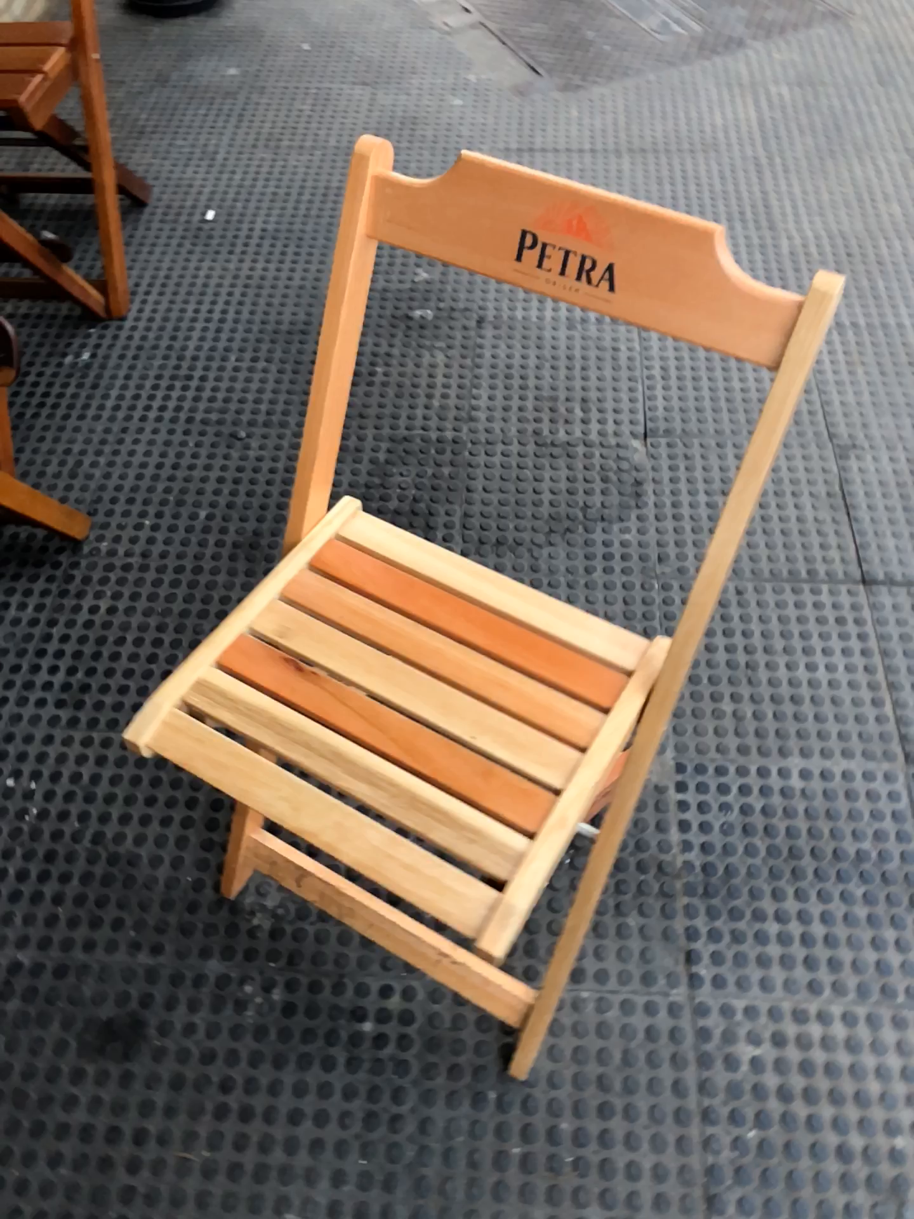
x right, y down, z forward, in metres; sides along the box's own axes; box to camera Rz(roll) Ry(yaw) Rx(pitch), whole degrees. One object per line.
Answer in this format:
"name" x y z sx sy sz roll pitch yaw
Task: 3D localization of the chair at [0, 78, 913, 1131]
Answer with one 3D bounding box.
"chair" 0.005 0.044 0.949 0.481 0.755 0.502 24 57 19
